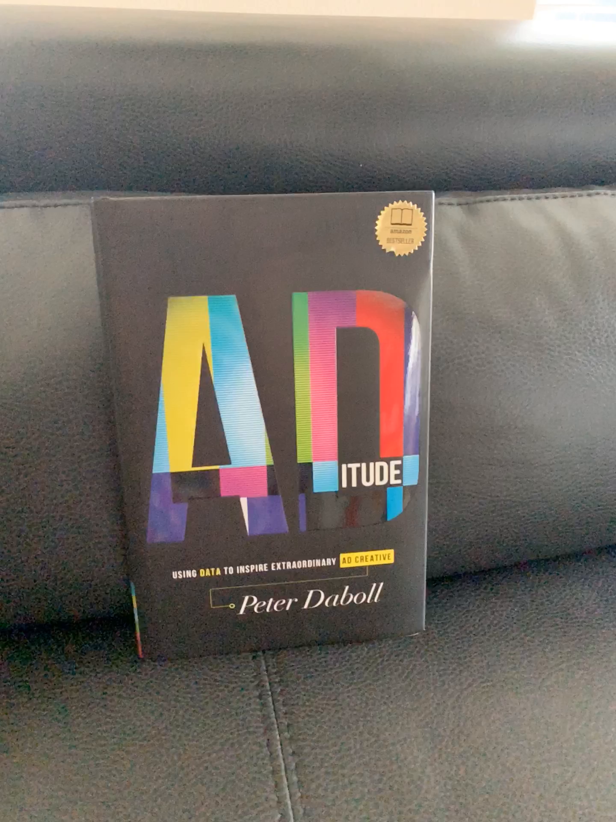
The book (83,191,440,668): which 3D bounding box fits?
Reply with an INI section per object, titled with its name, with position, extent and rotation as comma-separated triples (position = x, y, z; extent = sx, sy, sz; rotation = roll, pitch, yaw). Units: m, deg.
[book]
position = -0.016, 0.014, 0.327
extent = 0.160, 0.235, 0.025
rotation = -3, 15, -6
